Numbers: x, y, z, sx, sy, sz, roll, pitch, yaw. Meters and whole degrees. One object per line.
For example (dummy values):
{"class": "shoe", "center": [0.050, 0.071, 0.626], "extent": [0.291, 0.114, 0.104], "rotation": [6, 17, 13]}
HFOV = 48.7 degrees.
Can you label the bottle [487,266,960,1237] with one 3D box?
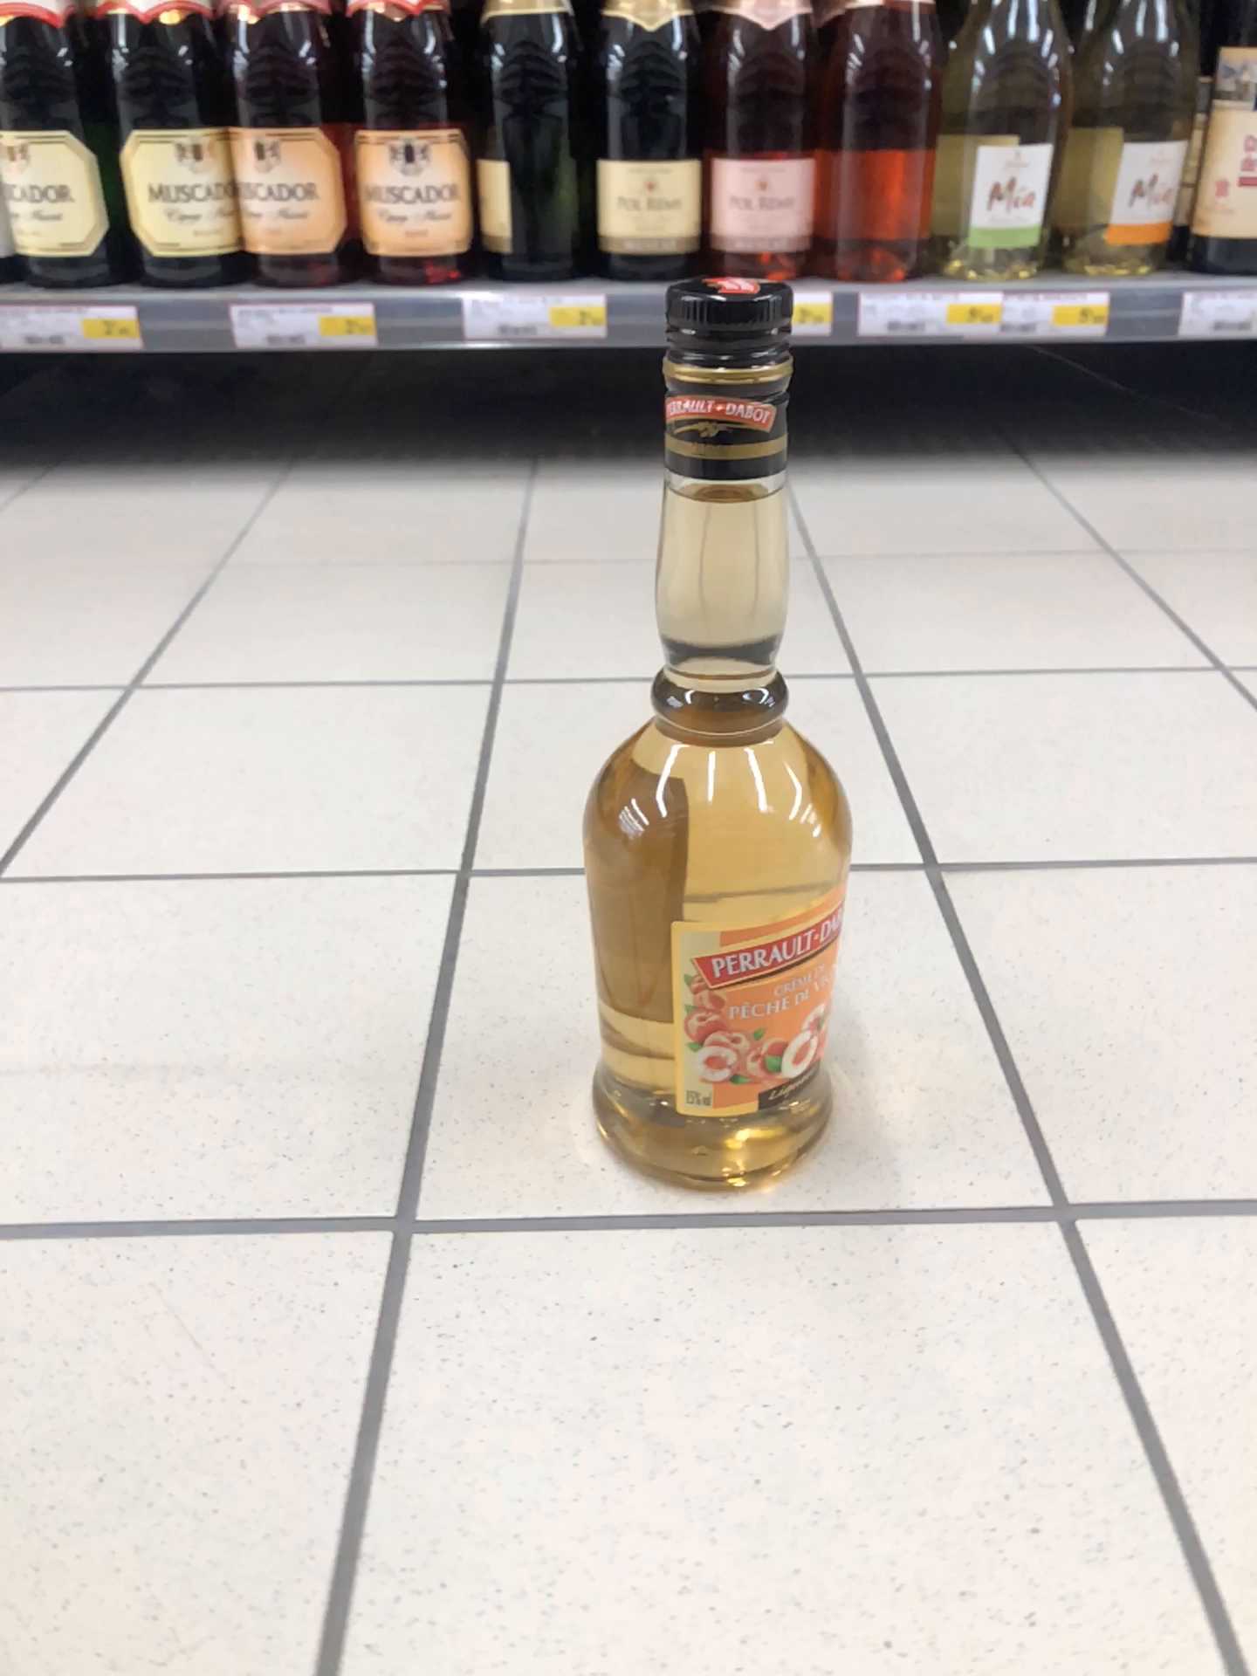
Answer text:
{"class": "bottle", "center": [0.023, -0.021, 0.392], "extent": [0.080, 0.249, 0.080], "rotation": [-1, 29, 0]}
